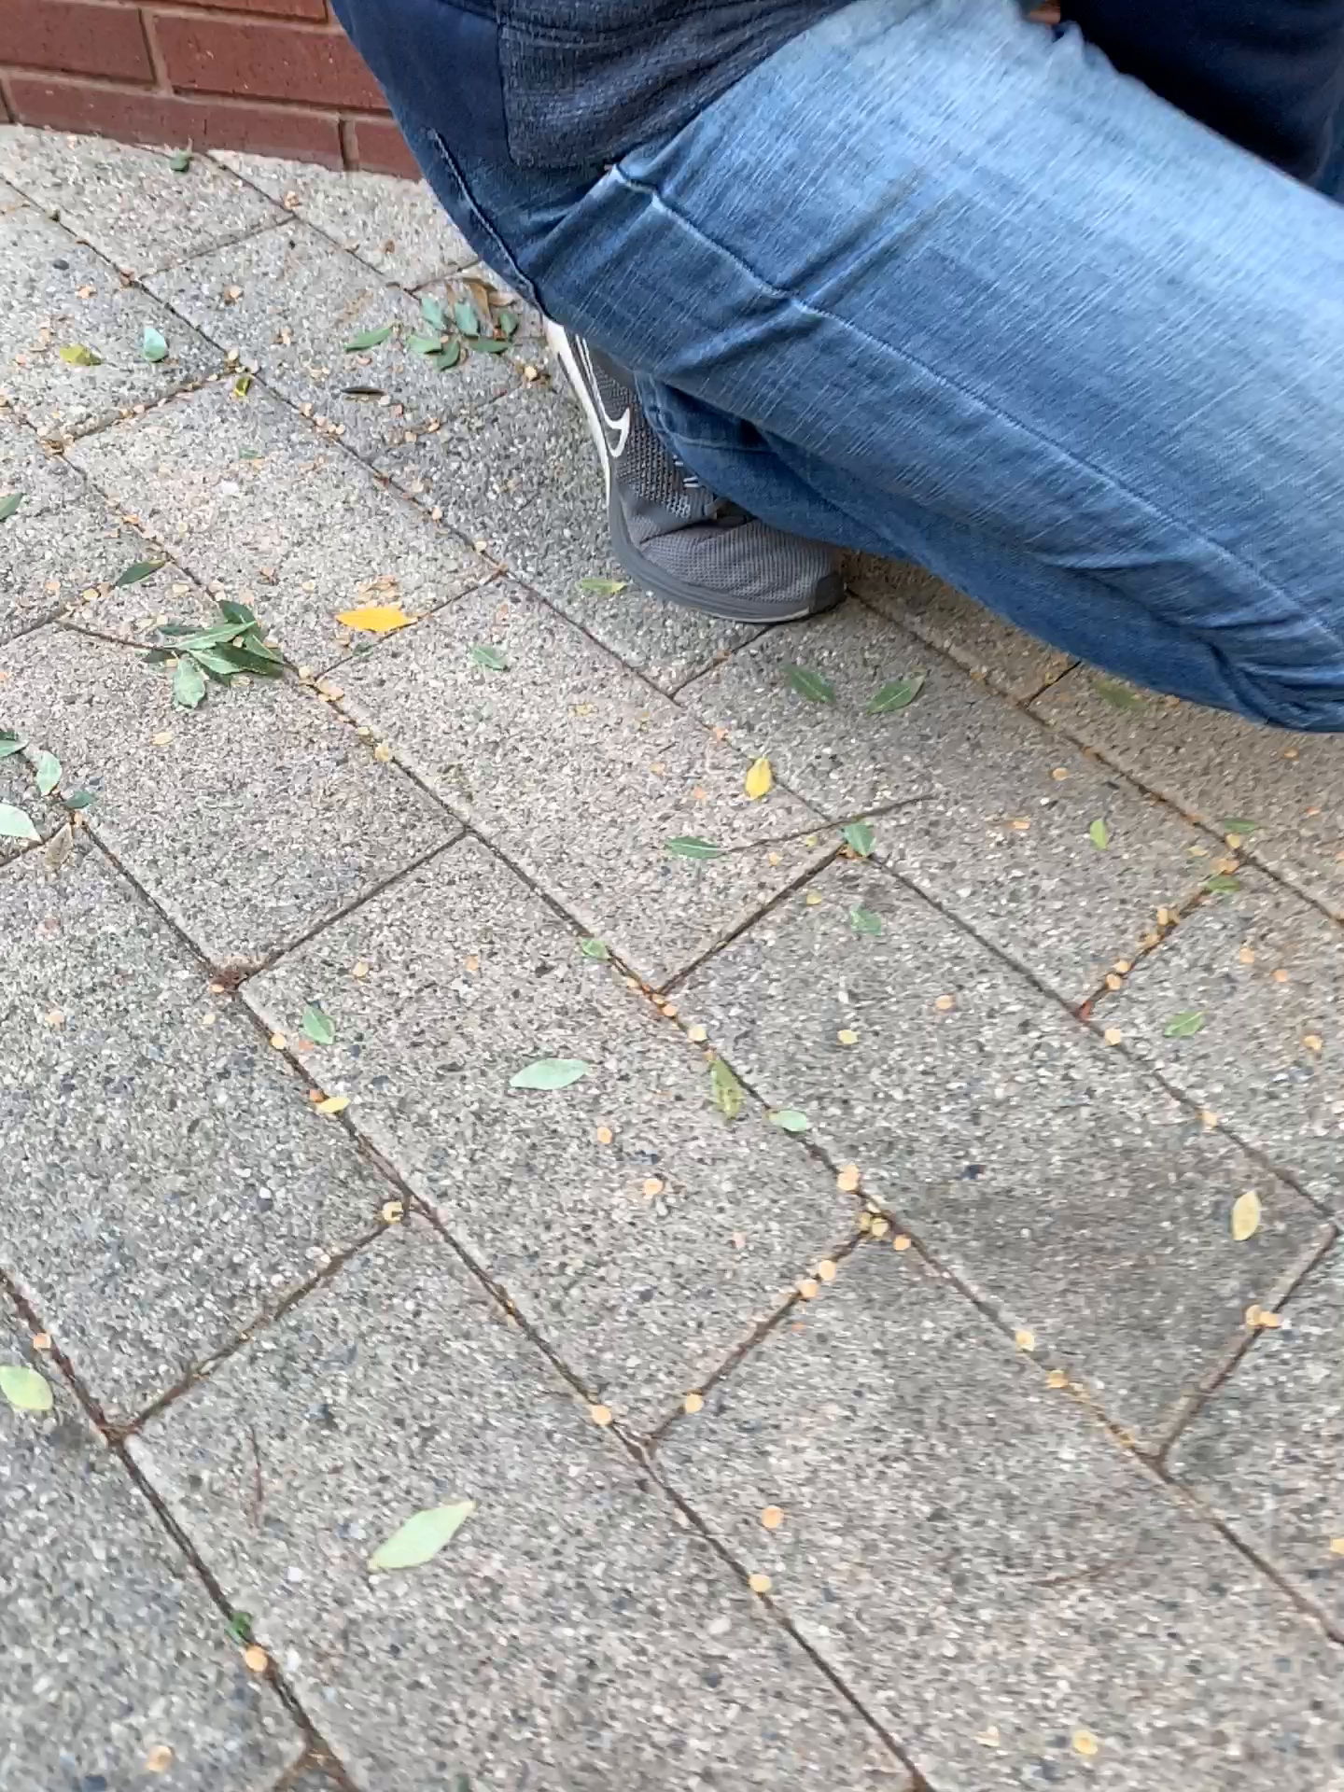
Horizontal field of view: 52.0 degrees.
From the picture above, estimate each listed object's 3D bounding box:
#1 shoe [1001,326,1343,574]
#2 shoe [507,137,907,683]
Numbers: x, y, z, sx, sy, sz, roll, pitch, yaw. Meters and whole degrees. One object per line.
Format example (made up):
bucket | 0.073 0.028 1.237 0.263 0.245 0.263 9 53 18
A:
shoe | 0.373 -0.304 0.934 0.279 0.083 0.111 8 52 5
shoe | 0.023 -0.281 0.830 0.116 0.274 0.098 -29 17 -21
